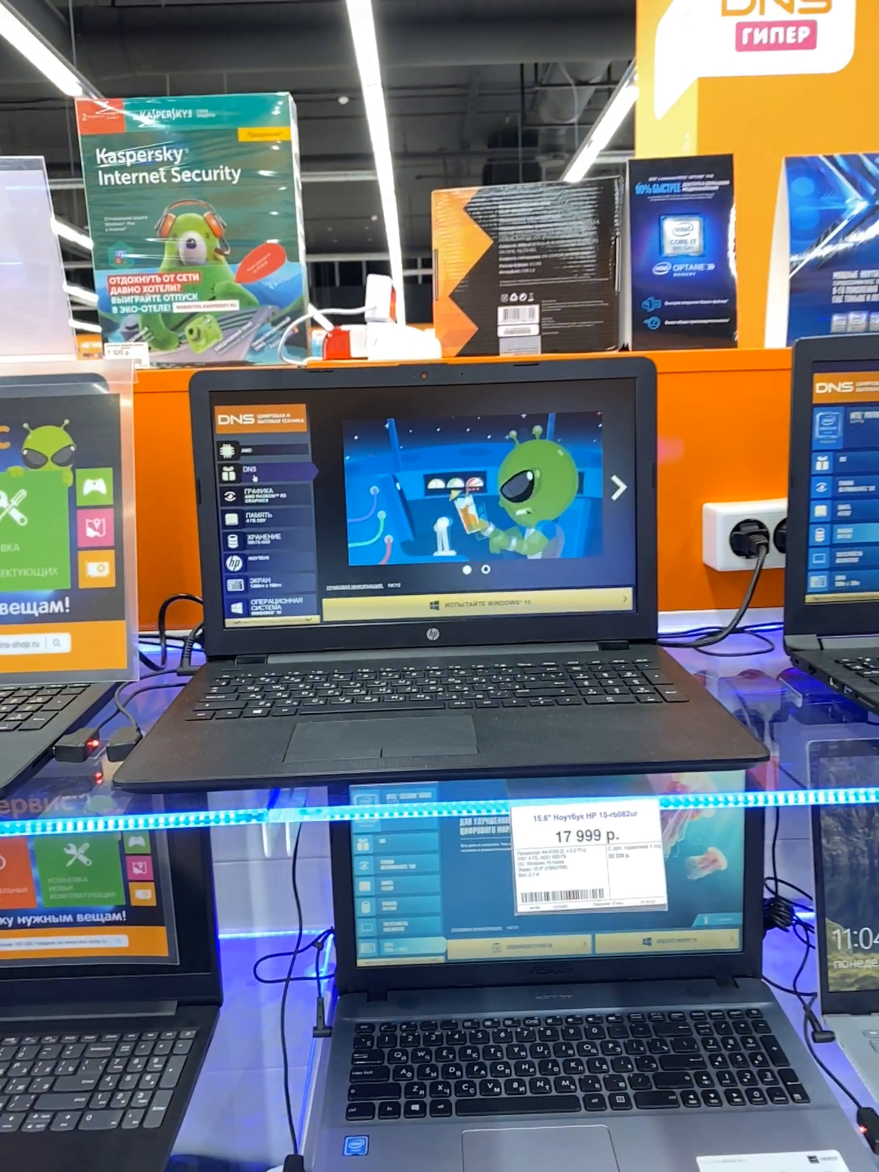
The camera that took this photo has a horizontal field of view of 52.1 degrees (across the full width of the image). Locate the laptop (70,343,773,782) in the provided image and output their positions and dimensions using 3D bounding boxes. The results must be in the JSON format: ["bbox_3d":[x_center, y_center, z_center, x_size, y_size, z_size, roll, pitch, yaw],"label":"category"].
[{"bbox_3d":[-0.007,-0.036,0.624,0.369,0.231,0.272,-2,11,-2],"label":"laptop"}]
